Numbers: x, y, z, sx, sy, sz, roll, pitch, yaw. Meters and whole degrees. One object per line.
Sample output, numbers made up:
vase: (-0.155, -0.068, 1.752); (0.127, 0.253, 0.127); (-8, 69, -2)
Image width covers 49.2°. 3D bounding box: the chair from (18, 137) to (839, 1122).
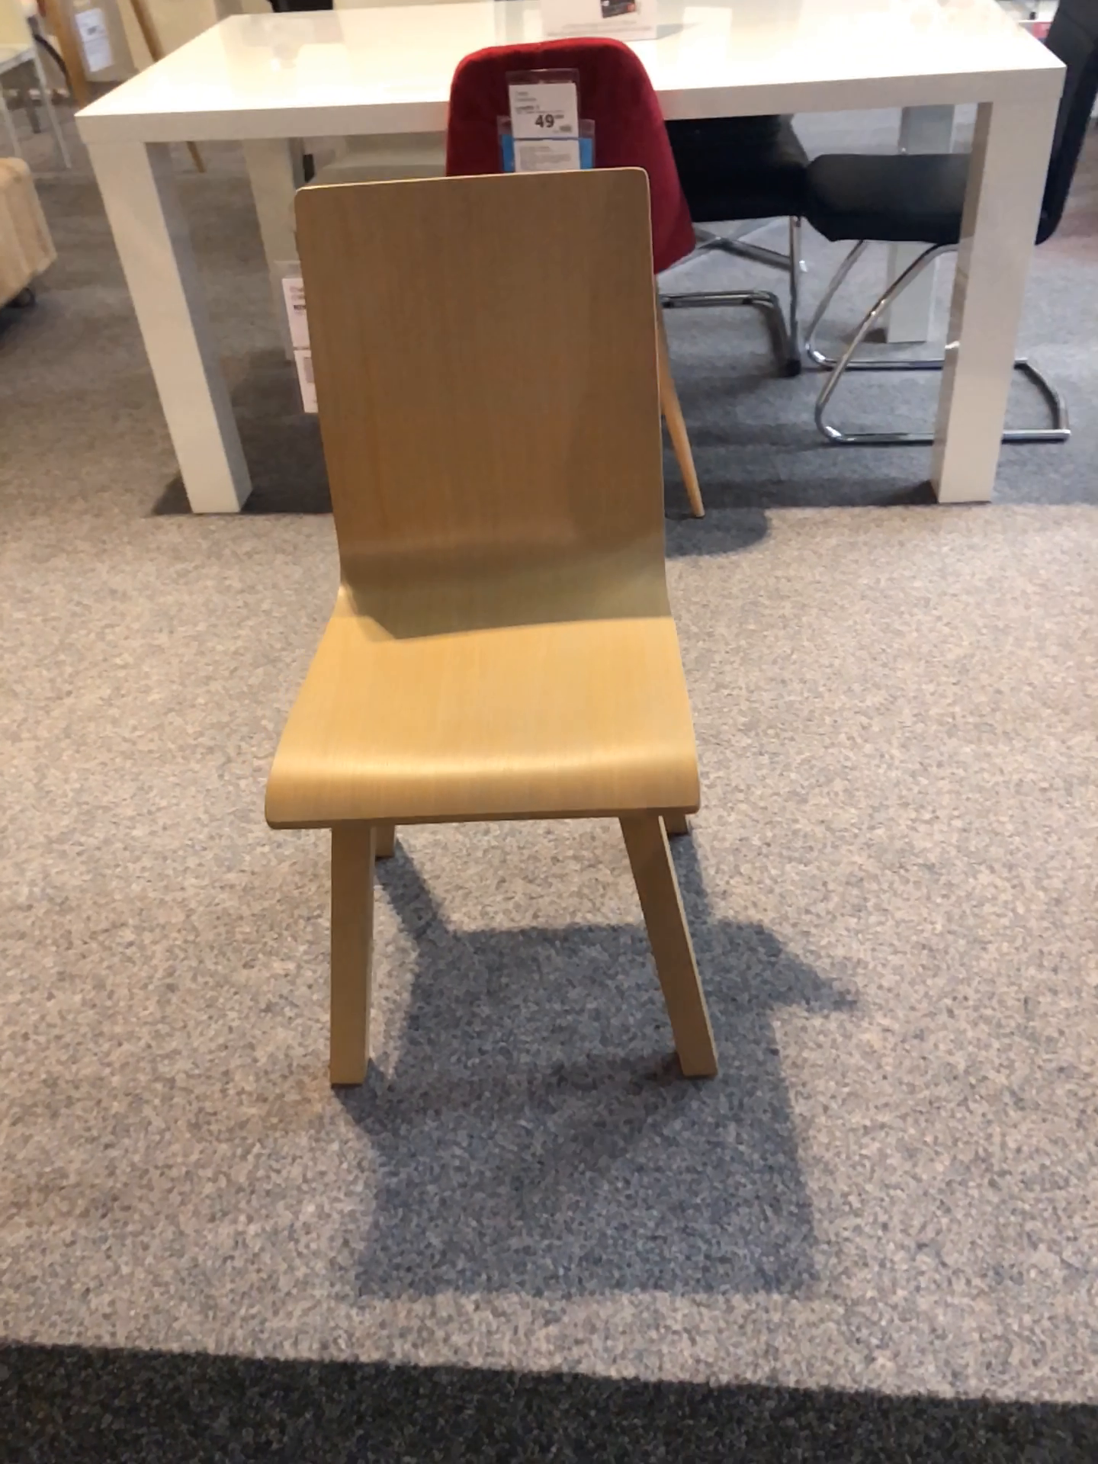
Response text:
chair: (-0.052, -0.069, 1.210); (0.520, 0.835, 0.493); (-2, 39, 3)
